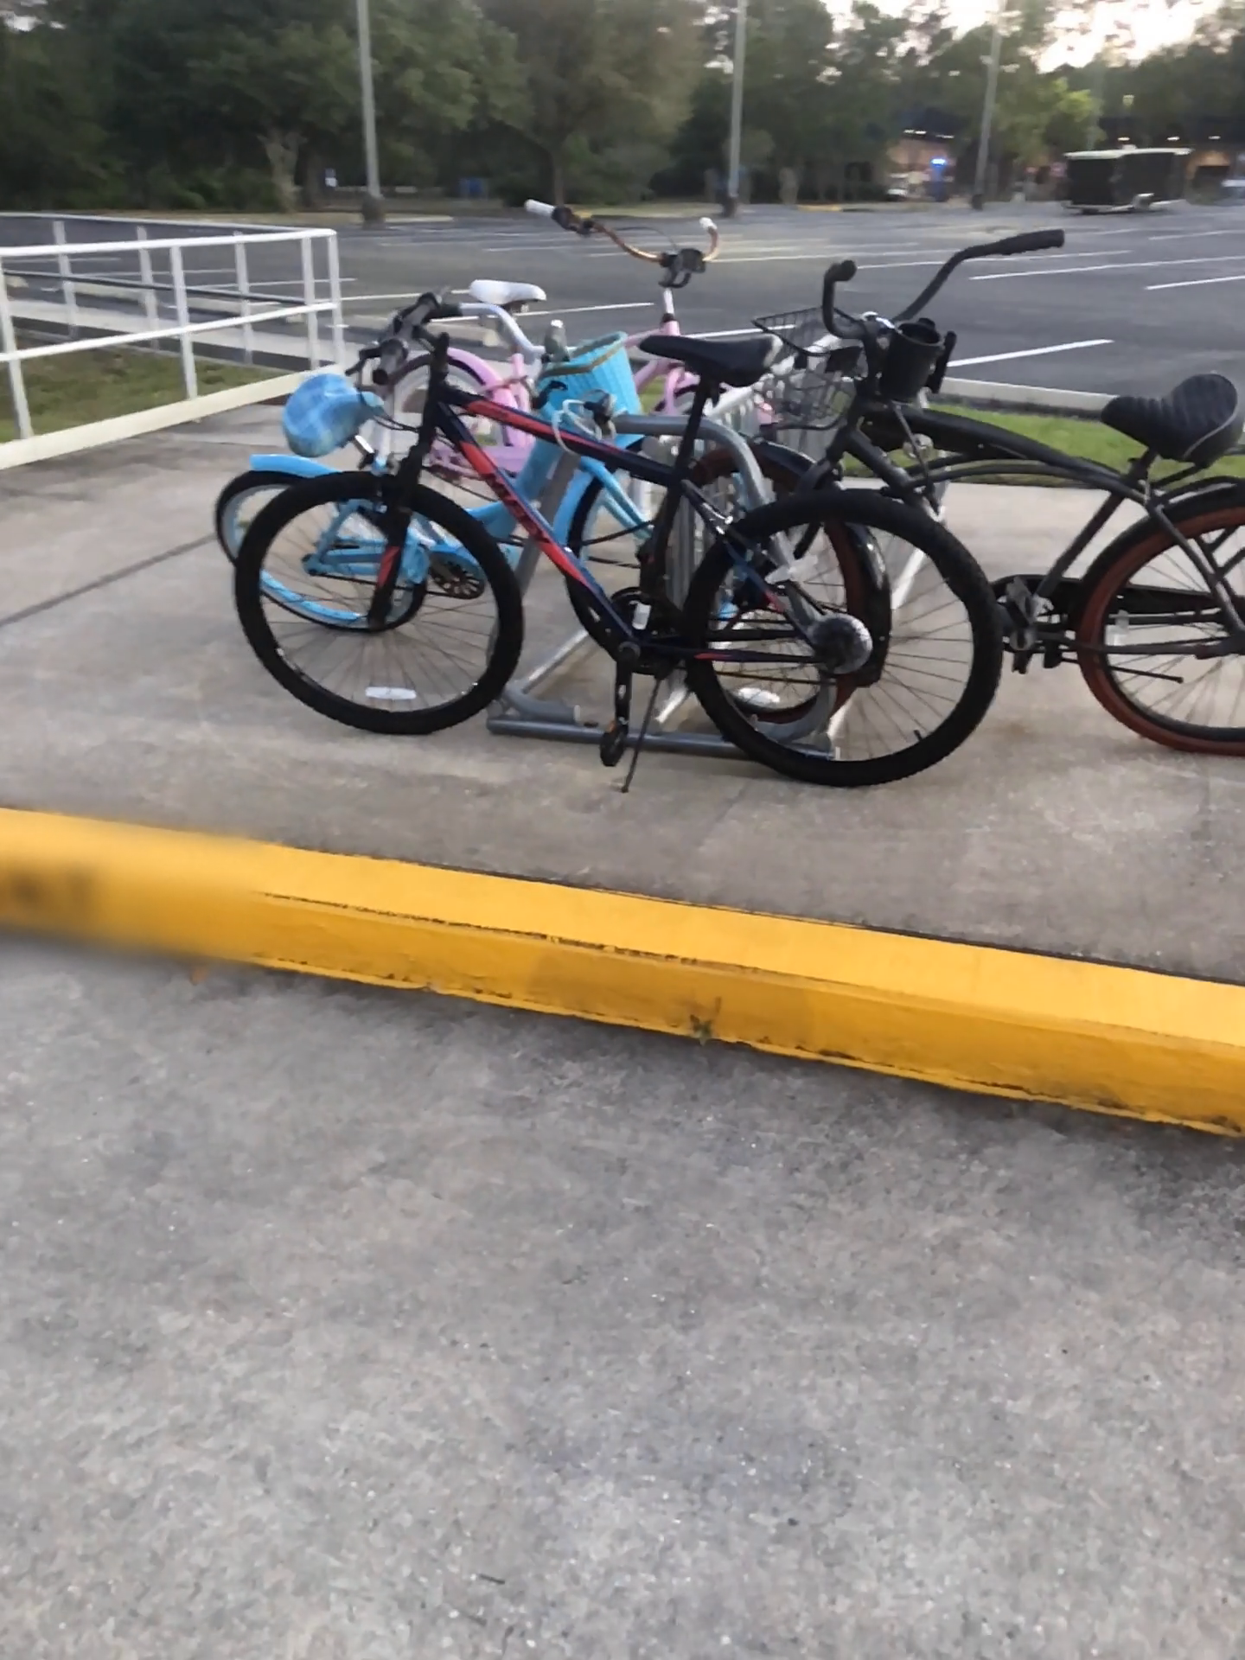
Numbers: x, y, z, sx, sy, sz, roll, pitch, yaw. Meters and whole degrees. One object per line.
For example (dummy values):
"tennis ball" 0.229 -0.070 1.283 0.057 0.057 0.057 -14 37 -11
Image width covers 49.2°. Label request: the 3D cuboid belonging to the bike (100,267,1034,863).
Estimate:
"bike" -0.067 -0.591 2.754 1.630 0.932 0.627 7 25 12
